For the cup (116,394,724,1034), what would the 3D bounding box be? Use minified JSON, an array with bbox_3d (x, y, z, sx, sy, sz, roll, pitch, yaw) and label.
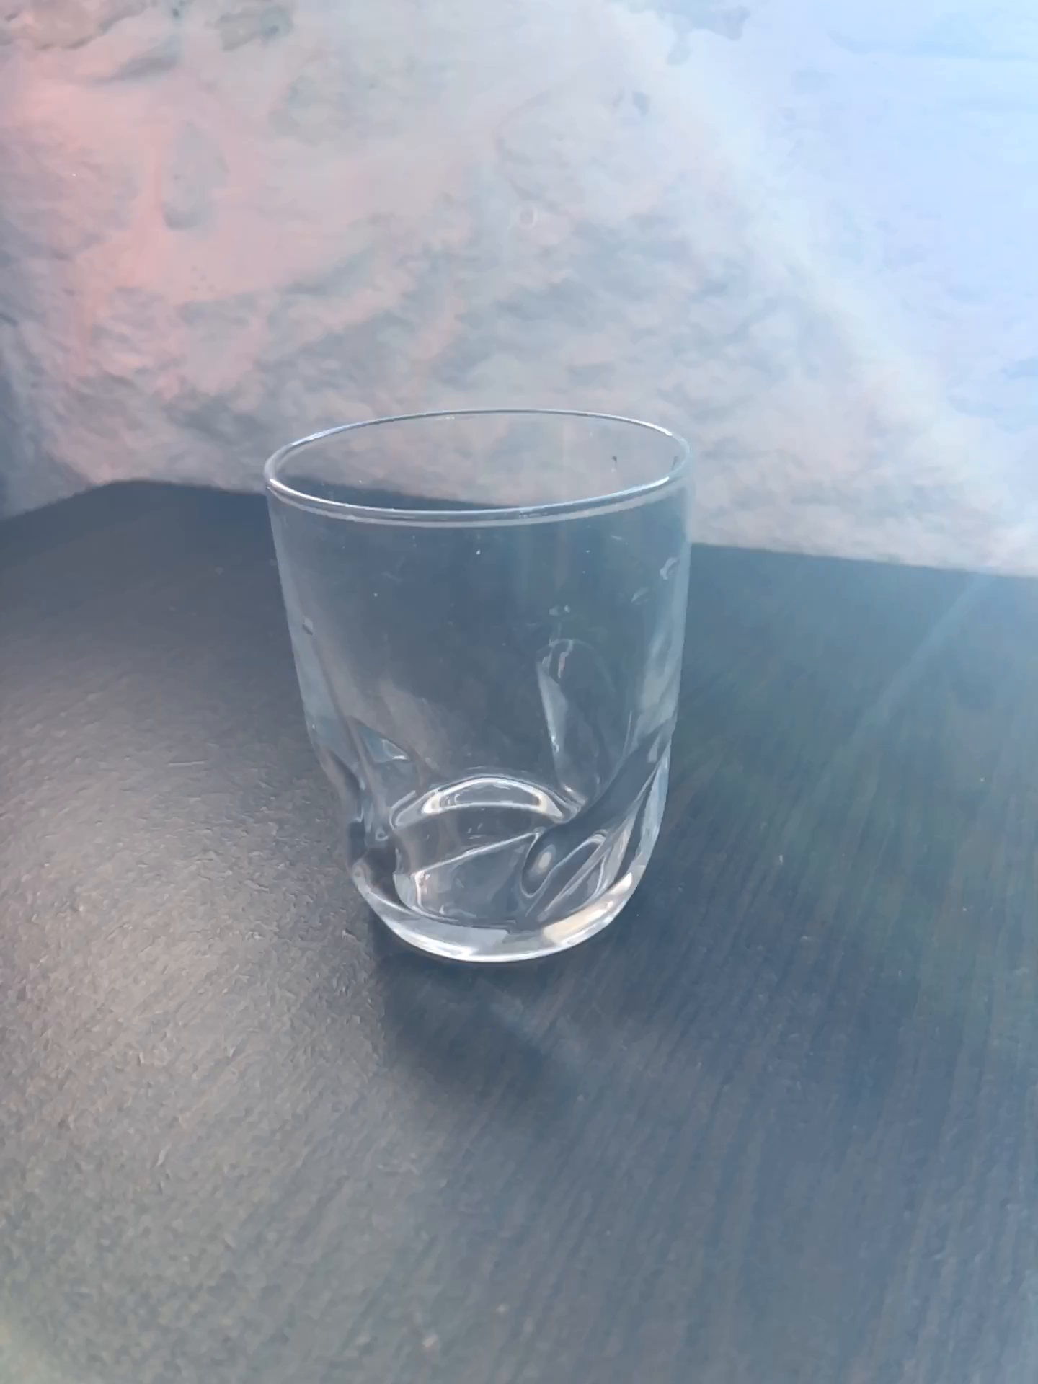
[{"bbox_3d":[-0.013,-0.004,0.218,0.078,0.085,0.075,-1,24,0],"label":"cup"}]
